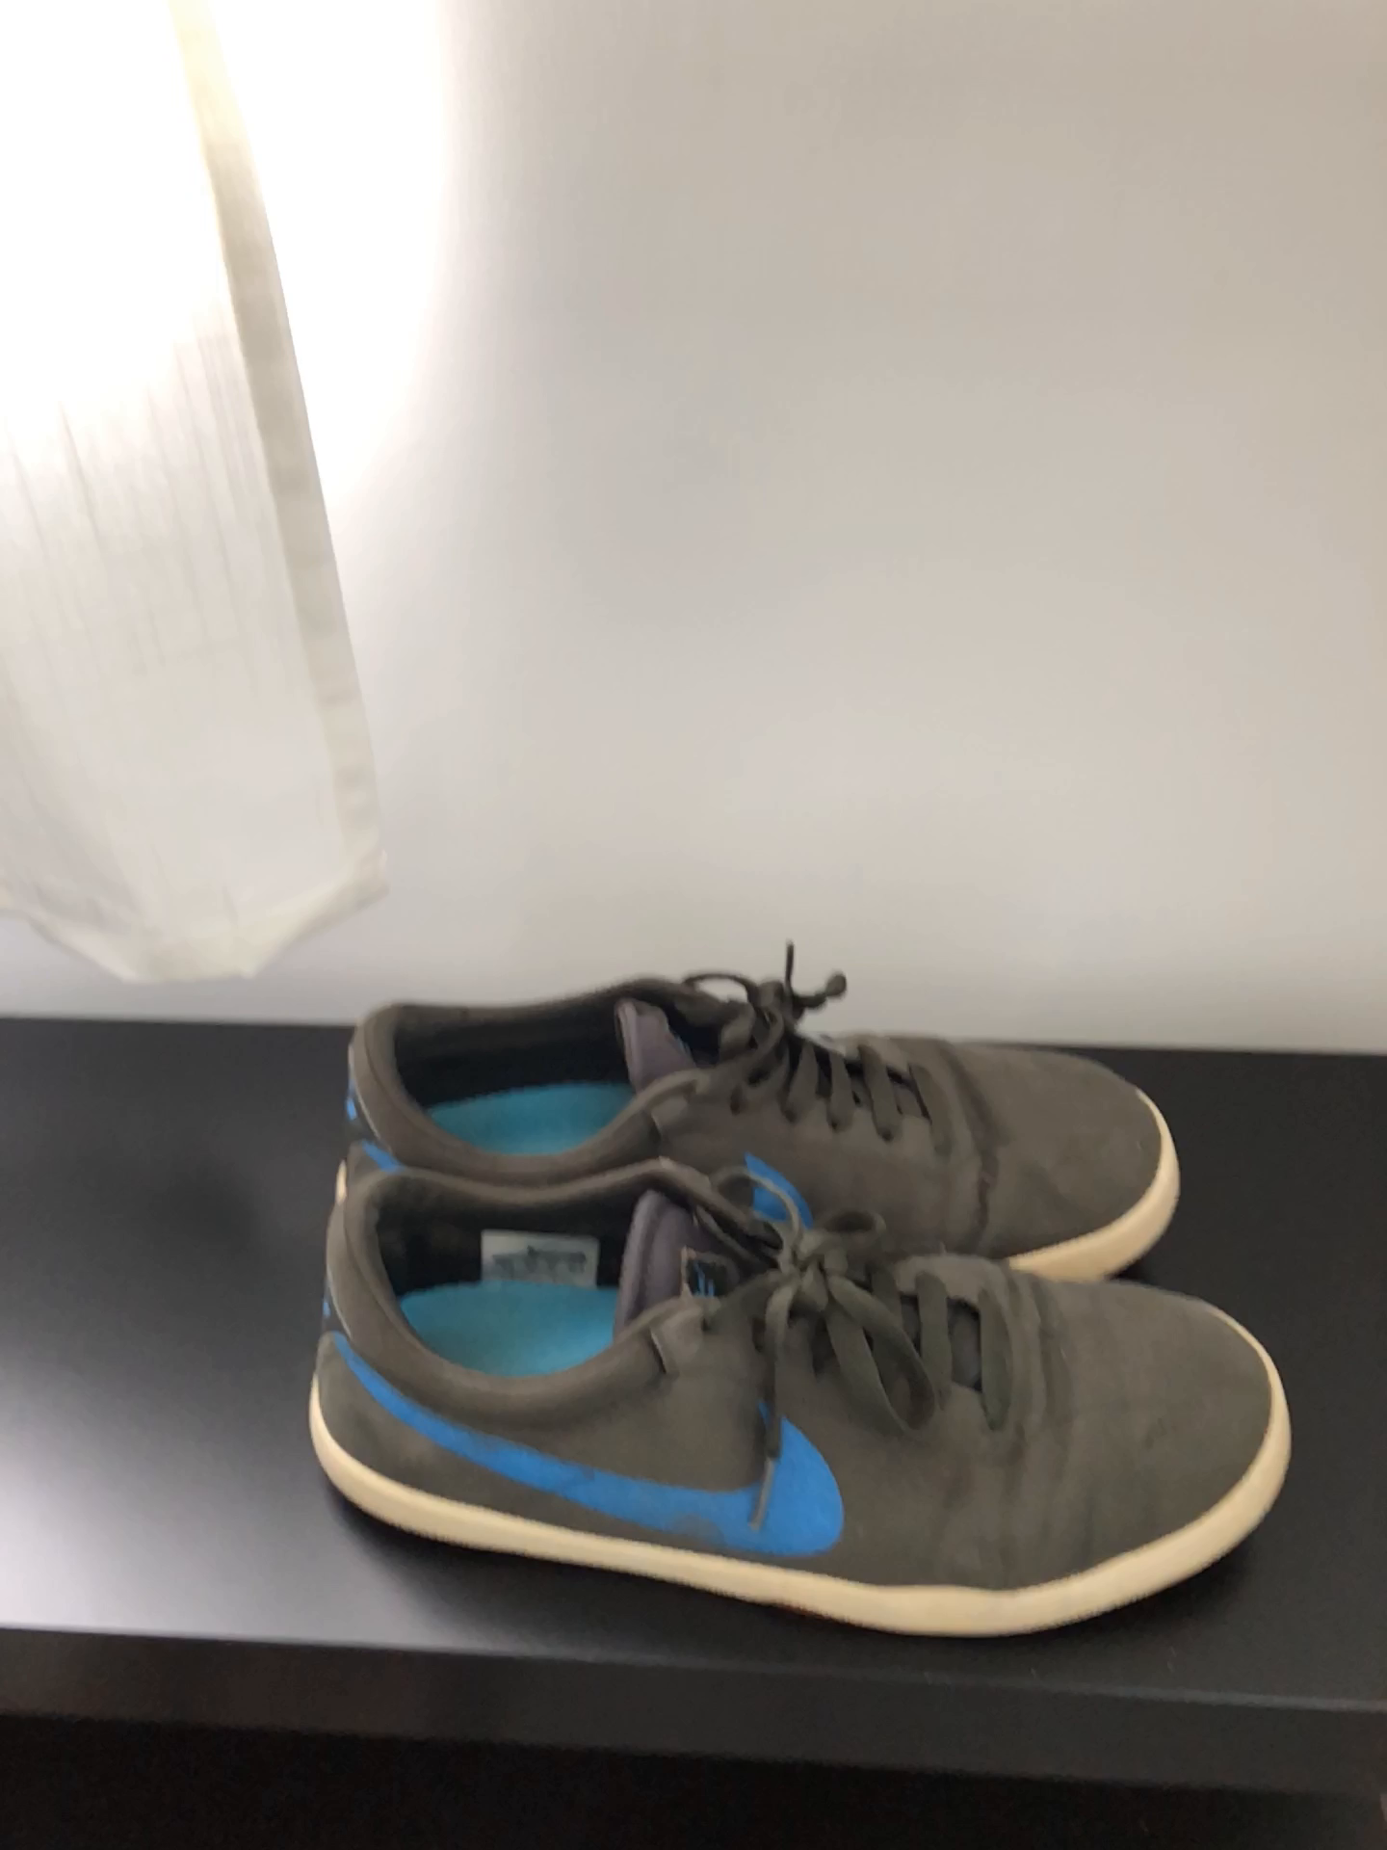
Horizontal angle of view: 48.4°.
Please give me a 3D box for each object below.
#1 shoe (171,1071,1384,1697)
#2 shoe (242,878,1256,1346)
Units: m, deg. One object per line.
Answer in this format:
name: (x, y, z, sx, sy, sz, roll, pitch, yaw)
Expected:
shoe: (0.020, 0.123, 0.429, 0.280, 0.110, 0.100, 3, 37, 5)
shoe: (0.016, 0.059, 0.499, 0.280, 0.110, 0.100, 0, 37, 2)
